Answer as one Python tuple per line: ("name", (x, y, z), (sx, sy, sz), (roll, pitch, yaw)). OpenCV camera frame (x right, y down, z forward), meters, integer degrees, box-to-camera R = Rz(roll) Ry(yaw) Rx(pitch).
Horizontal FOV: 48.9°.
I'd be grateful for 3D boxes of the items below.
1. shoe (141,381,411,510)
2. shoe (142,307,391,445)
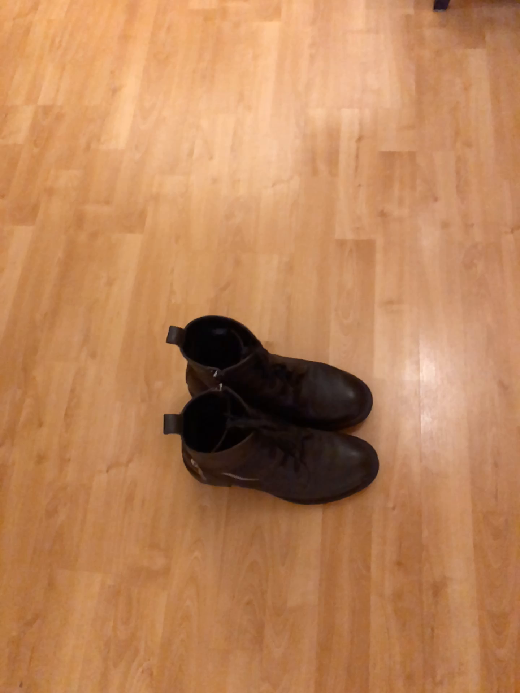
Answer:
("shoe", (0.022, 0.124, 0.675), (0.270, 0.180, 0.110), (-1, 67, 5))
("shoe", (0.015, 0.043, 0.719), (0.270, 0.180, 0.110), (2, 67, 6))
